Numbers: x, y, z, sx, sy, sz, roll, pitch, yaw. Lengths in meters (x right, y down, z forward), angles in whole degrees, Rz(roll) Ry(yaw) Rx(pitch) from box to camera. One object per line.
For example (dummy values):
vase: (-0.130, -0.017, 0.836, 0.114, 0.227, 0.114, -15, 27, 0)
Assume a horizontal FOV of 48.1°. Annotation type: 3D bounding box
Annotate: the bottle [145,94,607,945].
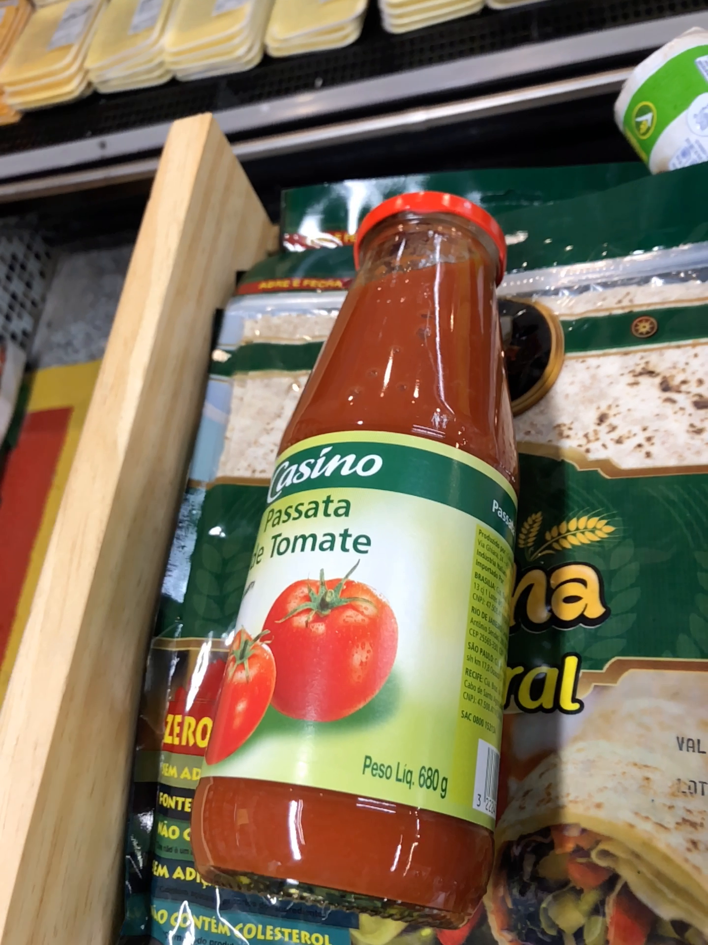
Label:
bottle: (0.021, 0.010, 0.241, 0.070, 0.080, 0.231, -15, 55, 42)
